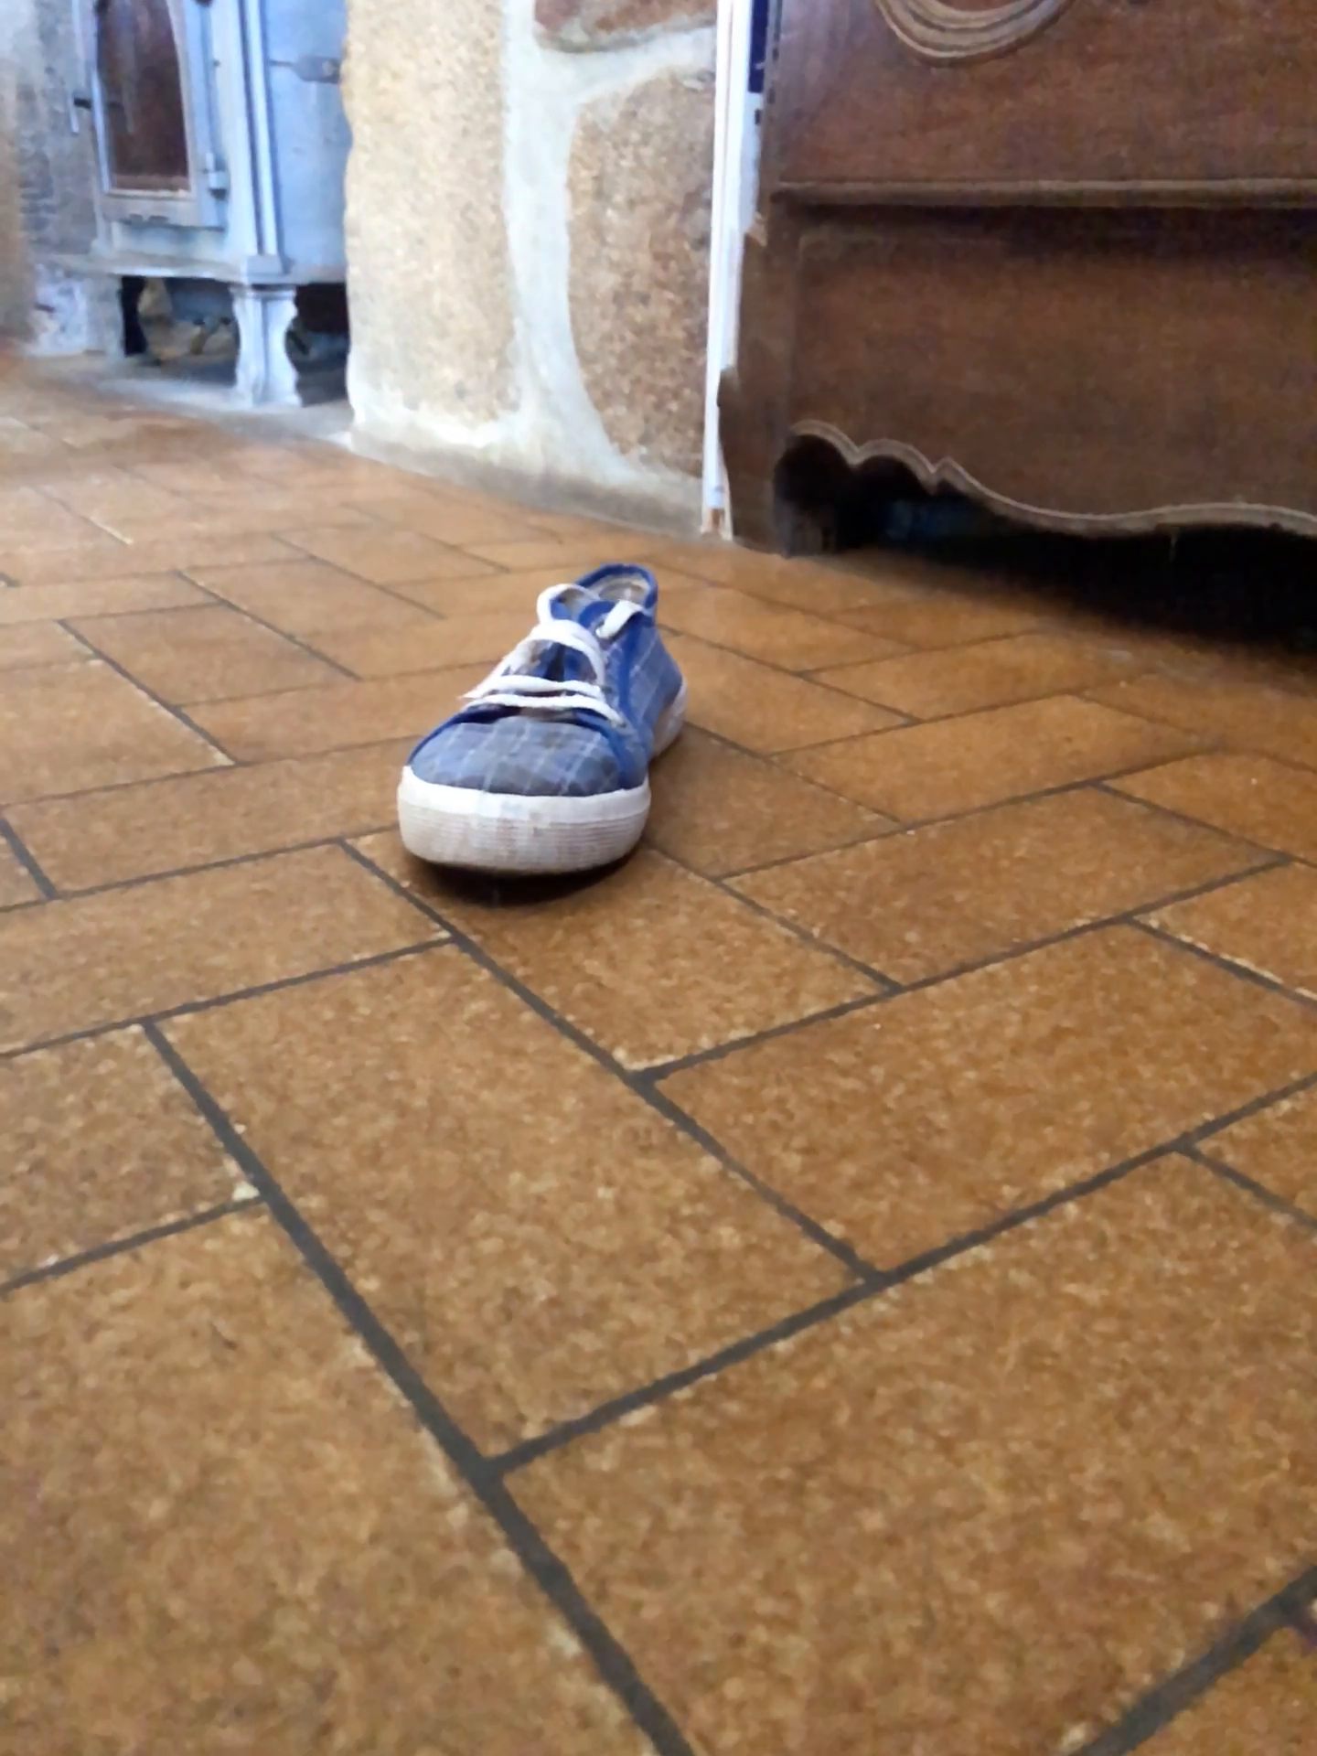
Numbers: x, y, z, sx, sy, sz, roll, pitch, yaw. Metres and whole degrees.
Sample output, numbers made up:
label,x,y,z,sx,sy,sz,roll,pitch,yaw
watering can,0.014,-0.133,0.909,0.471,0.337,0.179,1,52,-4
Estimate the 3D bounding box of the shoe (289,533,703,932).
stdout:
label,x,y,z,sx,sy,sz,roll,pitch,yaw
shoe,-0.047,-0.070,0.562,0.100,0.080,0.241,4,23,7
